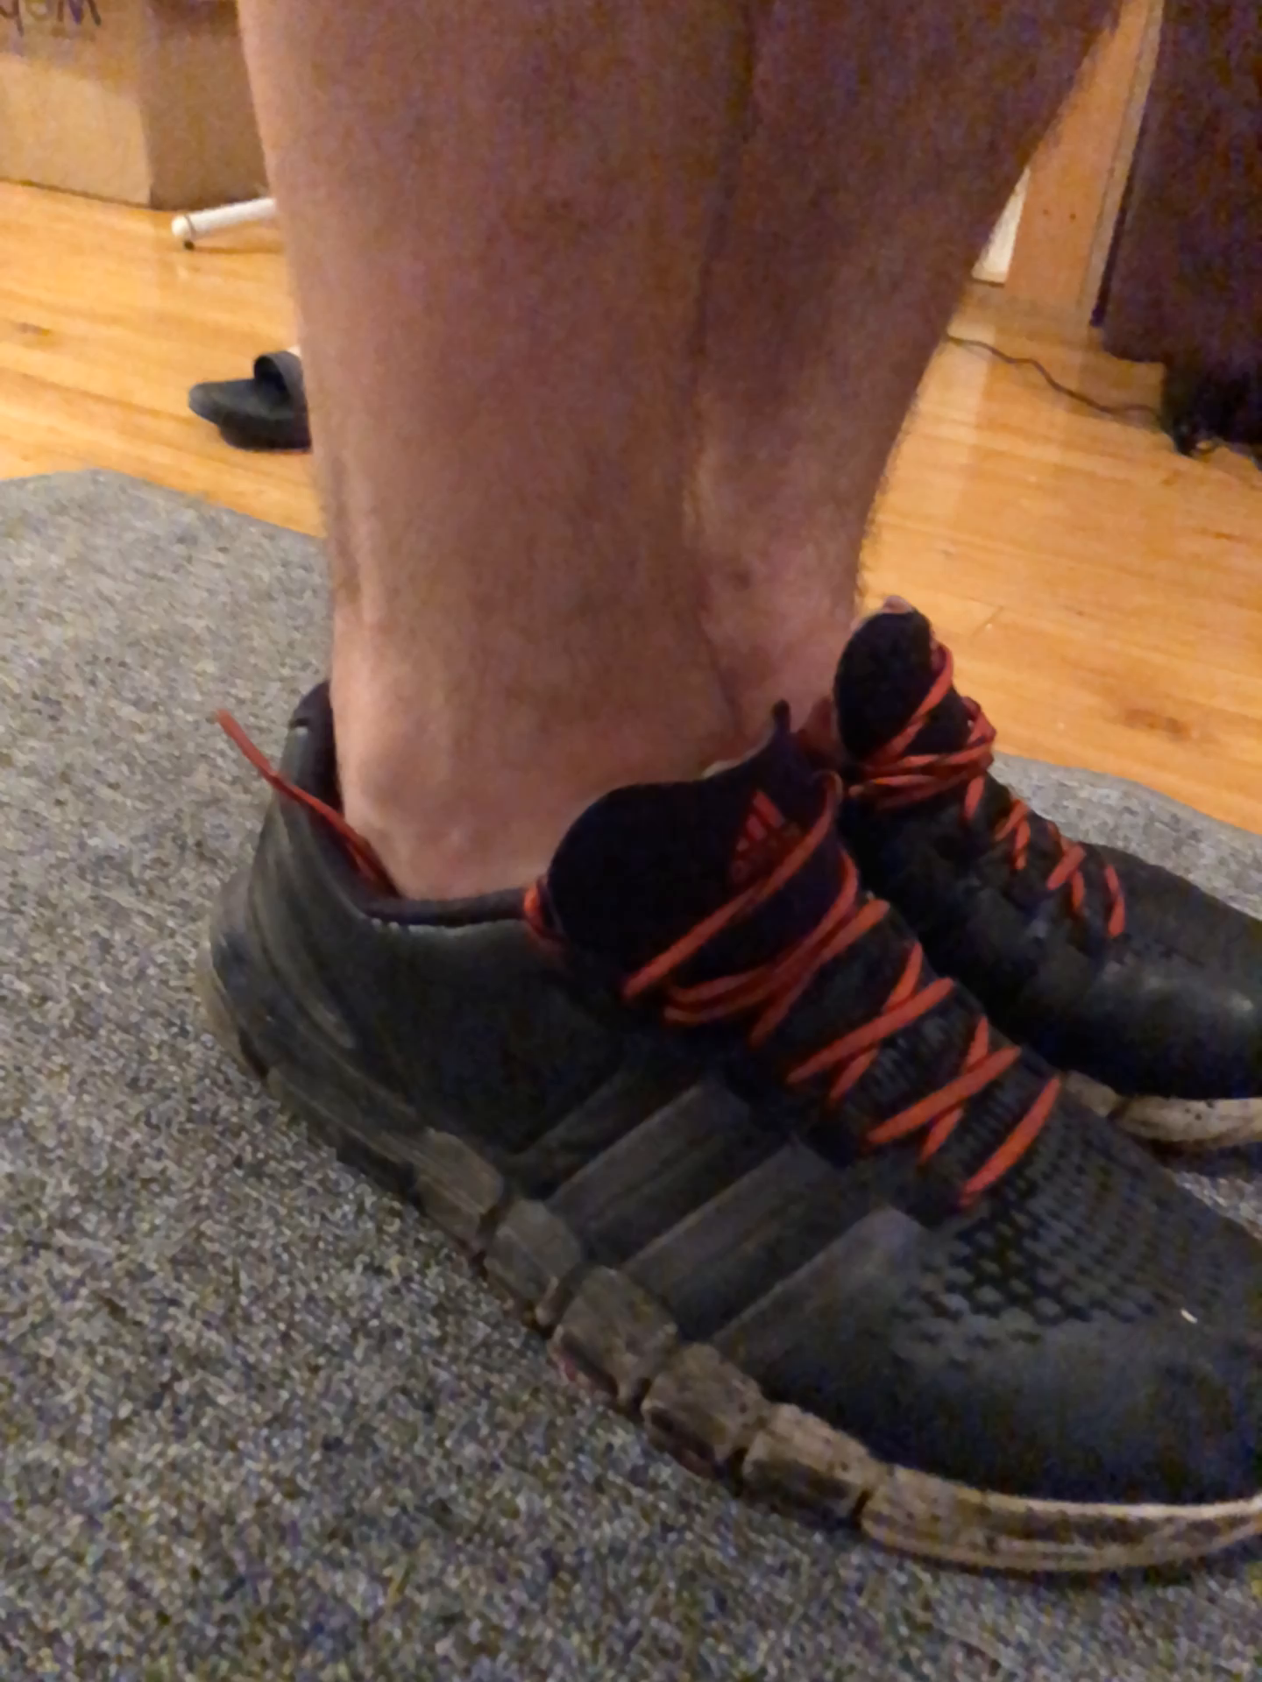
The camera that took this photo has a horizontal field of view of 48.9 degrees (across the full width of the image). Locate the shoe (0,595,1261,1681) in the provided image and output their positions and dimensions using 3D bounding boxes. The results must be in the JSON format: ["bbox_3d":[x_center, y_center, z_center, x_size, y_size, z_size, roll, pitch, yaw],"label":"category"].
[{"bbox_3d":[0.017,0.045,0.311,0.300,0.099,0.121,20,33,22],"label":"shoe"}]

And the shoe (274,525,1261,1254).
[{"bbox_3d":[0.069,-0.005,0.419,0.320,0.089,0.131,15,31,15],"label":"shoe"}]
